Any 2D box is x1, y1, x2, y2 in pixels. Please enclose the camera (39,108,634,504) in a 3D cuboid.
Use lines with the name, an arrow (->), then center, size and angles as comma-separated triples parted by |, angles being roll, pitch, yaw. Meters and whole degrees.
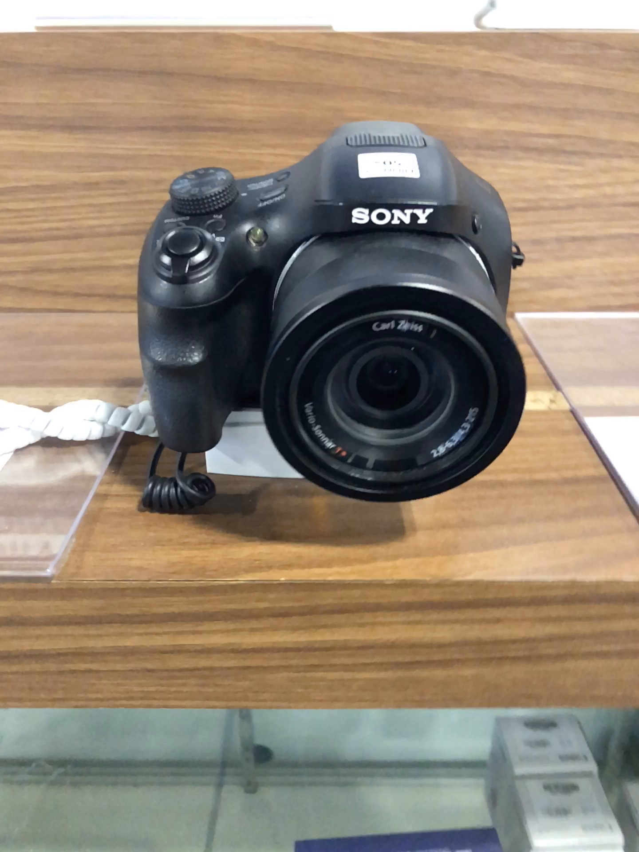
camera -> 0.003, -0.050, 0.233 | 0.130, 0.089, 0.131 | -1, 28, -1
